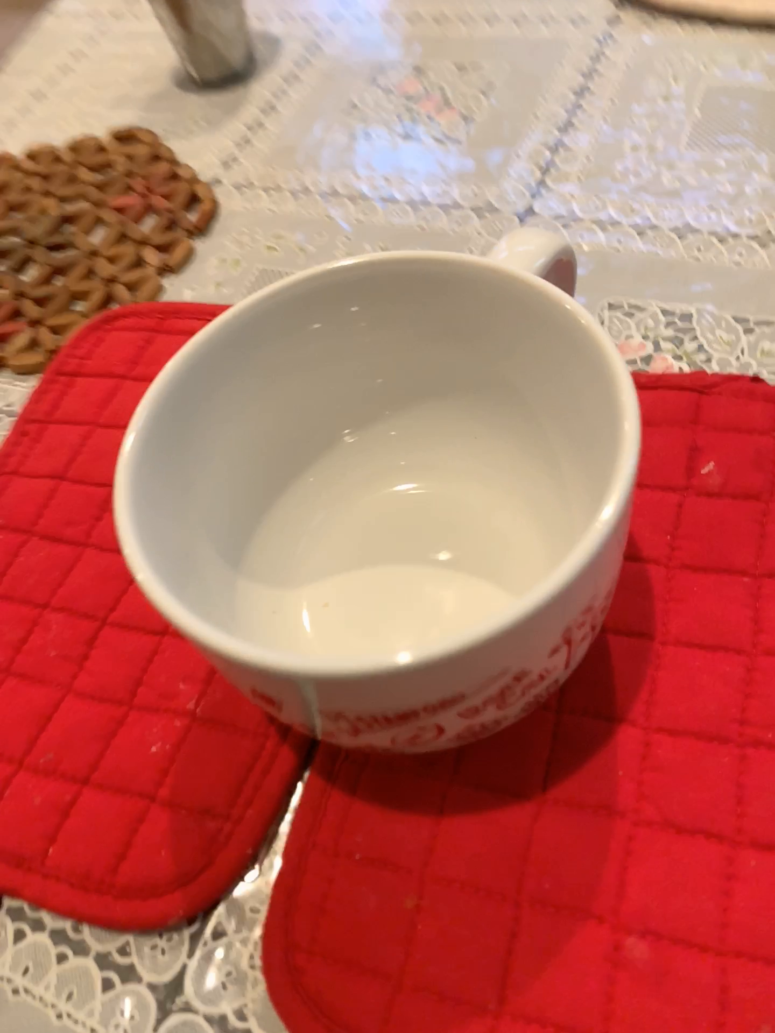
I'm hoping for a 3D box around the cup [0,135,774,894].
[{"bbox_3d":[0.006,-0.010,0.204,0.121,0.079,0.141,23,65,25],"label":"cup"}]
